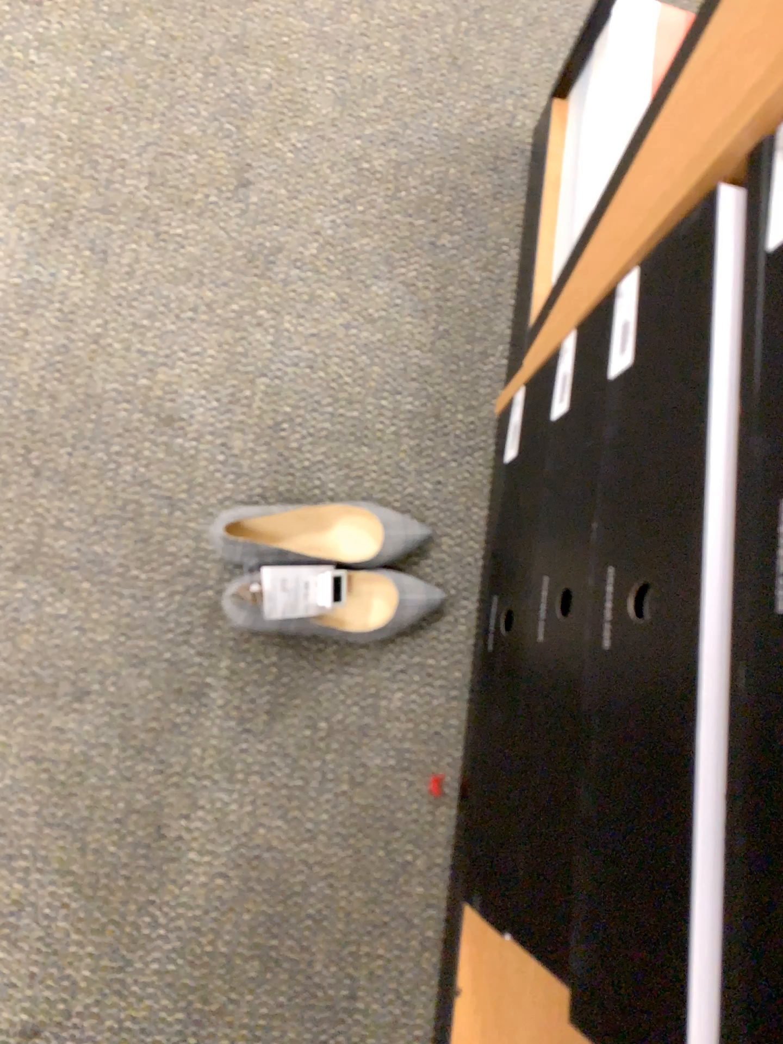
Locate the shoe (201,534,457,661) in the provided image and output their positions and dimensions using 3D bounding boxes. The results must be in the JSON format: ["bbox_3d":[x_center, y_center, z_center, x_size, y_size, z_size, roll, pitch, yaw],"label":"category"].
[{"bbox_3d":[-0.068,0.080,0.807,0.230,0.150,0.090,-5,79,-11],"label":"shoe"}]

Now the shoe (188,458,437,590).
[{"bbox_3d":[-0.086,0.006,0.829,0.230,0.150,0.090,-5,79,-11],"label":"shoe"}]
